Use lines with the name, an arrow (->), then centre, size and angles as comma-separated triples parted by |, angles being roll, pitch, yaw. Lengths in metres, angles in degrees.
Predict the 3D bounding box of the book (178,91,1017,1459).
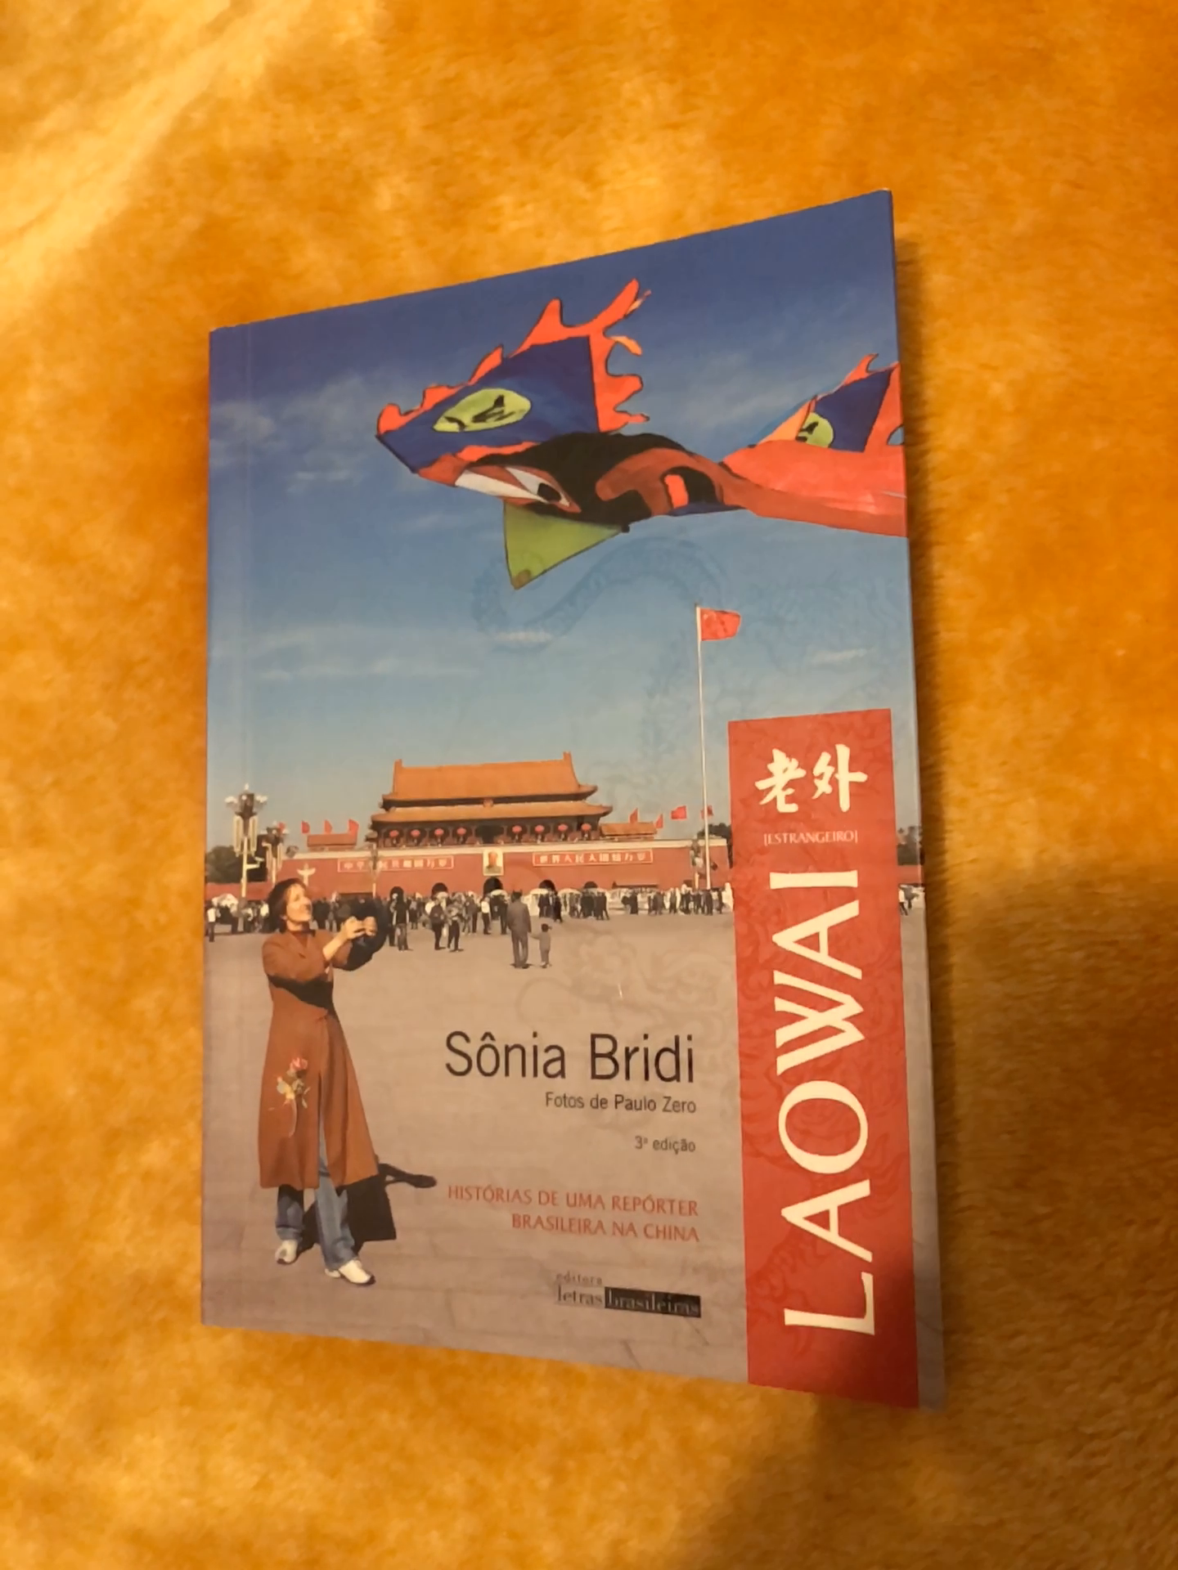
book -> -0.005, -0.002, 0.281 | 0.170, 0.040, 0.240 | -4, 83, 24
